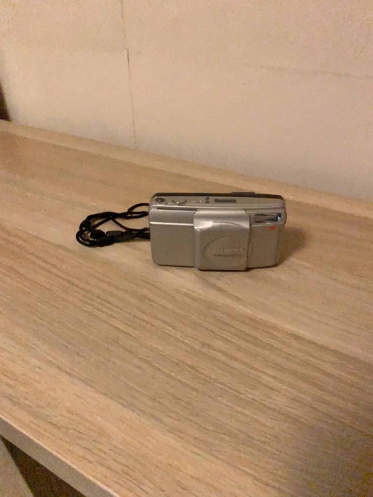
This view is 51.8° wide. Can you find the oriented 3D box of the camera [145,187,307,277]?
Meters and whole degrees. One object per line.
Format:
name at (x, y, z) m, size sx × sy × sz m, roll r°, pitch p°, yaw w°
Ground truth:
camera at (0.032, -0.015, 0.336) m, size 0.126 × 0.059 × 0.046 m, roll 2°, pitch 35°, yaw 3°
